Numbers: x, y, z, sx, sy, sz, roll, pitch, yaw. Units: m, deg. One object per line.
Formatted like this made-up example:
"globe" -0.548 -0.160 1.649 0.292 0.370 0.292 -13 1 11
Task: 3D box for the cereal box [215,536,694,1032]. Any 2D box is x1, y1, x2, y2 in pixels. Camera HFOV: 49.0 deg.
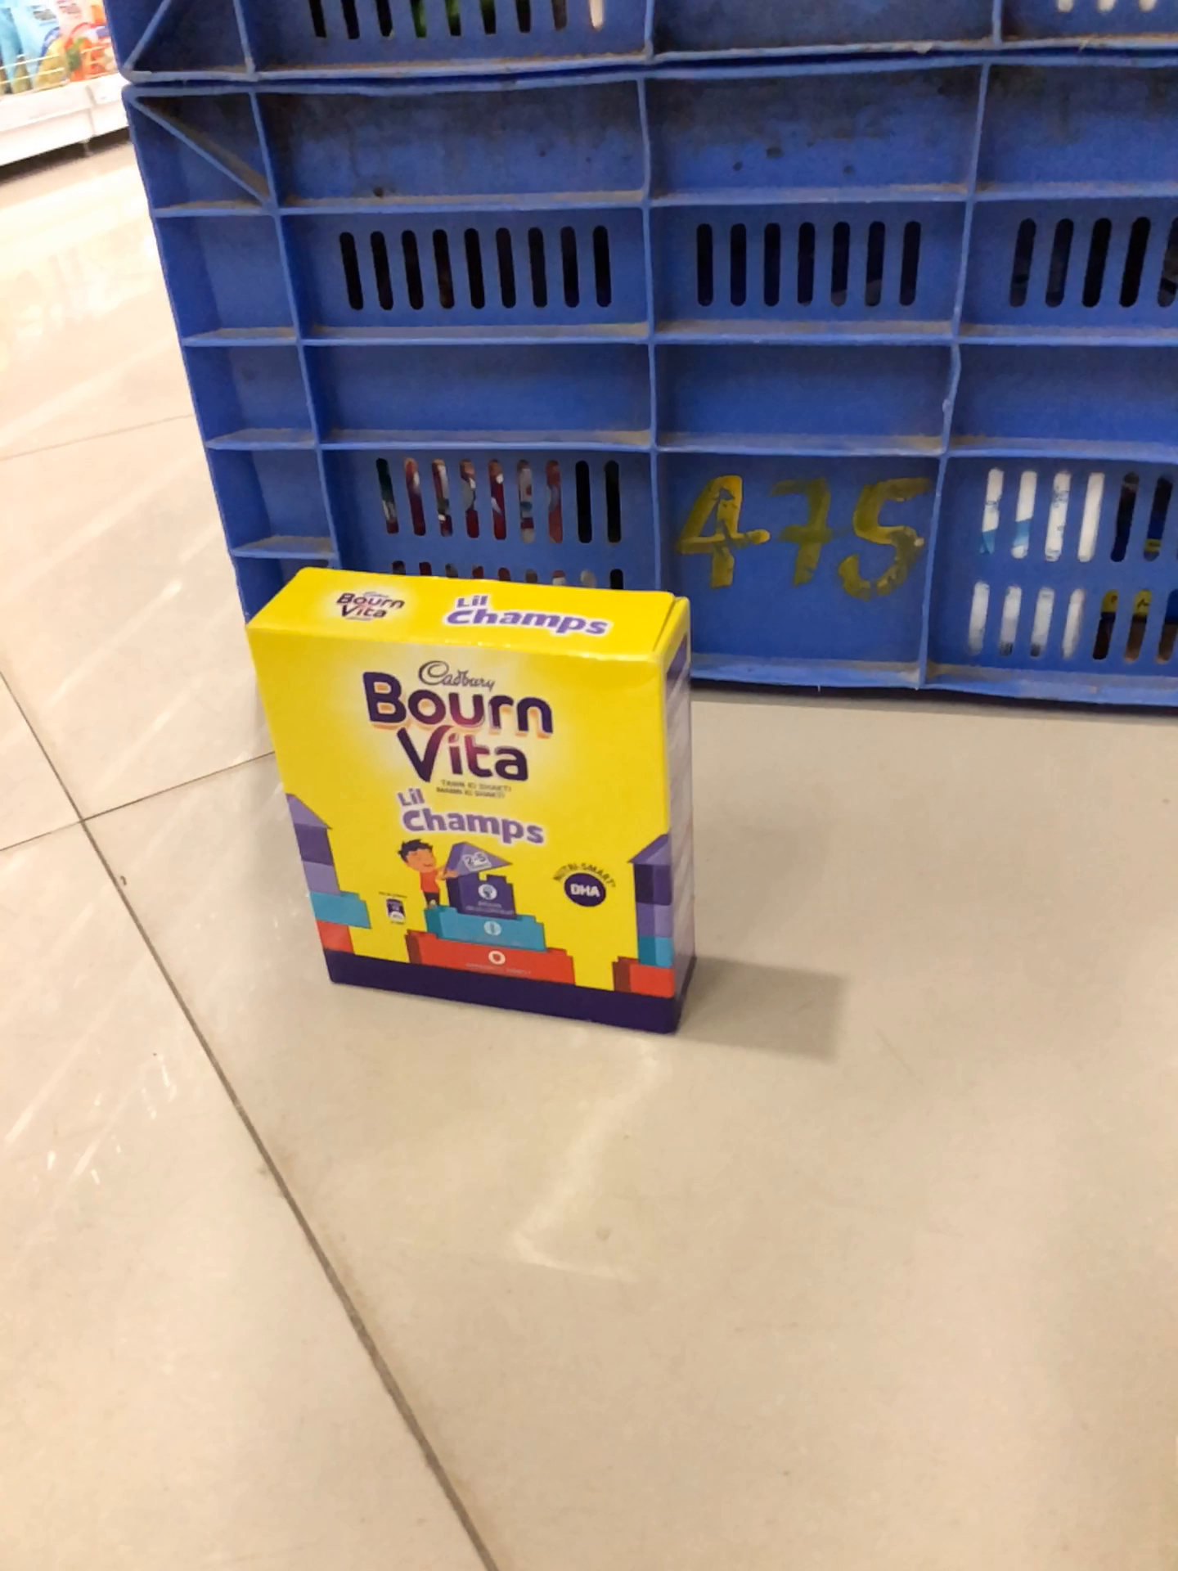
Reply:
"cereal box" -0.042 0.001 0.483 0.150 0.169 0.050 7 35 17
